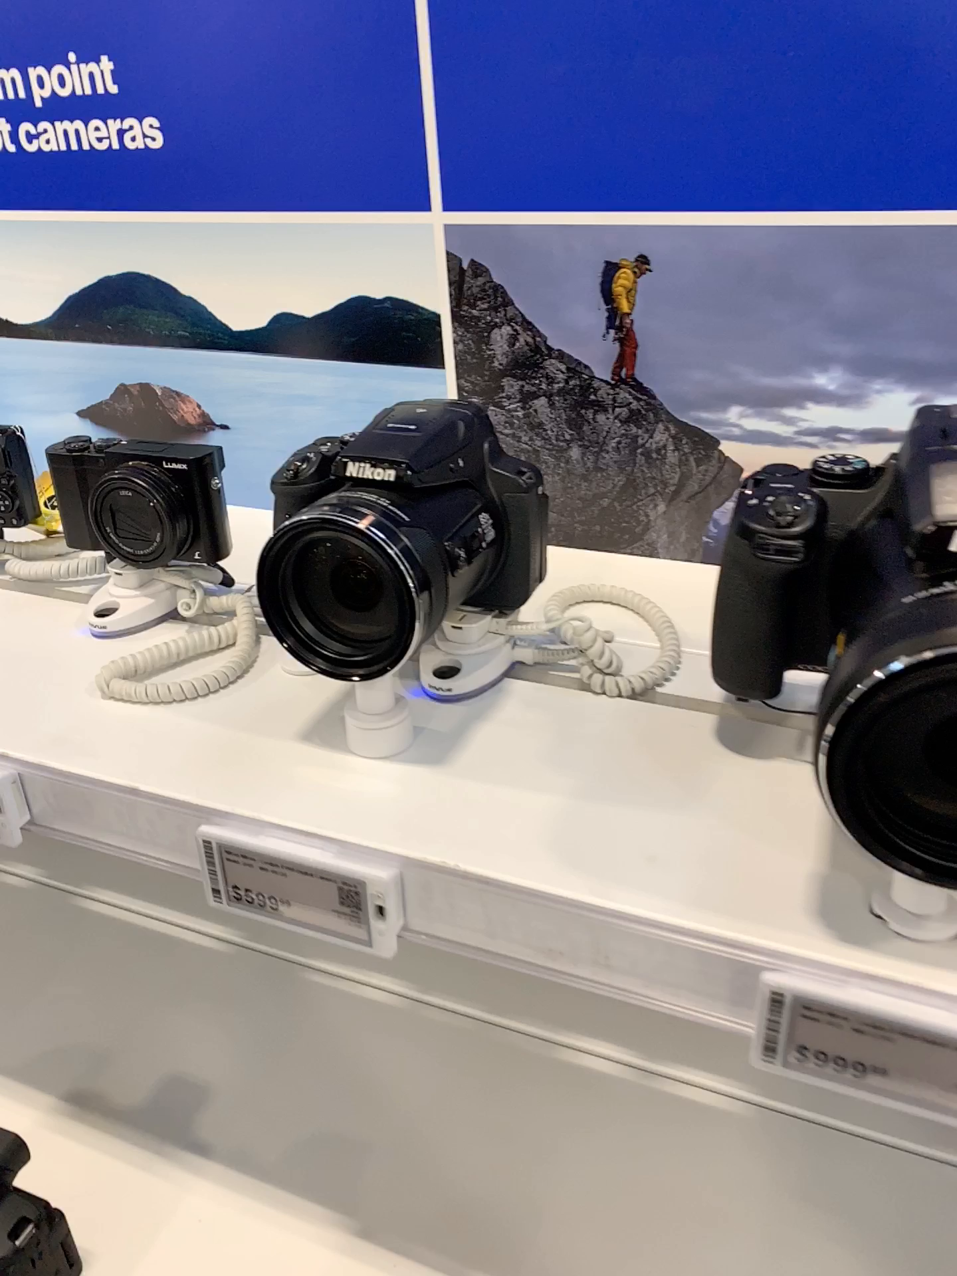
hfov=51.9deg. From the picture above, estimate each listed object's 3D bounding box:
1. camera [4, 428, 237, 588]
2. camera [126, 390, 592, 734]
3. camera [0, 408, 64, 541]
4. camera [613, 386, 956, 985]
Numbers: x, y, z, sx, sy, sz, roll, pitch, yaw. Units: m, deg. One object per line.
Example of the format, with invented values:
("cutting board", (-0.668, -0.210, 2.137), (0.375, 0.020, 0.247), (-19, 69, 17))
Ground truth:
("camera", (-0.205, -0.077, 0.568), (0.110, 0.070, 0.050), (8, 28, 21))
("camera", (-0.045, -0.048, 0.469), (0.160, 0.099, 0.151), (8, 28, 21))
("camera", (-0.344, -0.108, 0.639), (0.120, 0.070, 0.050), (4, 27, 14))
("camera", (0.156, -0.011, 0.365), (0.160, 0.109, 0.221), (8, 28, 20))
